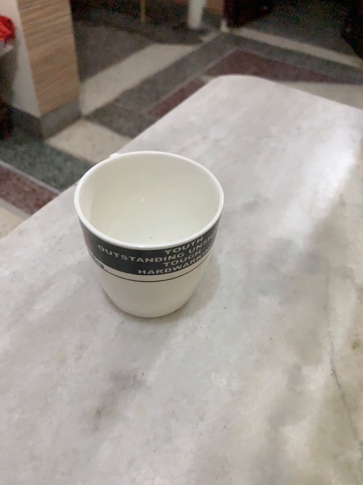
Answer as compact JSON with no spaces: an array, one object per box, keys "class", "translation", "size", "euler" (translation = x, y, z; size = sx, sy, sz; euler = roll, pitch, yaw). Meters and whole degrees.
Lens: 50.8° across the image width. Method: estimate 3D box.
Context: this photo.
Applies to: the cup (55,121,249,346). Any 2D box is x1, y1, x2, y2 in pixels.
[{"class":"cup","translation":[-0.020,-0.009,0.200],"size":[0.070,0.060,0.090],"euler":[-11,49,-14]}]
